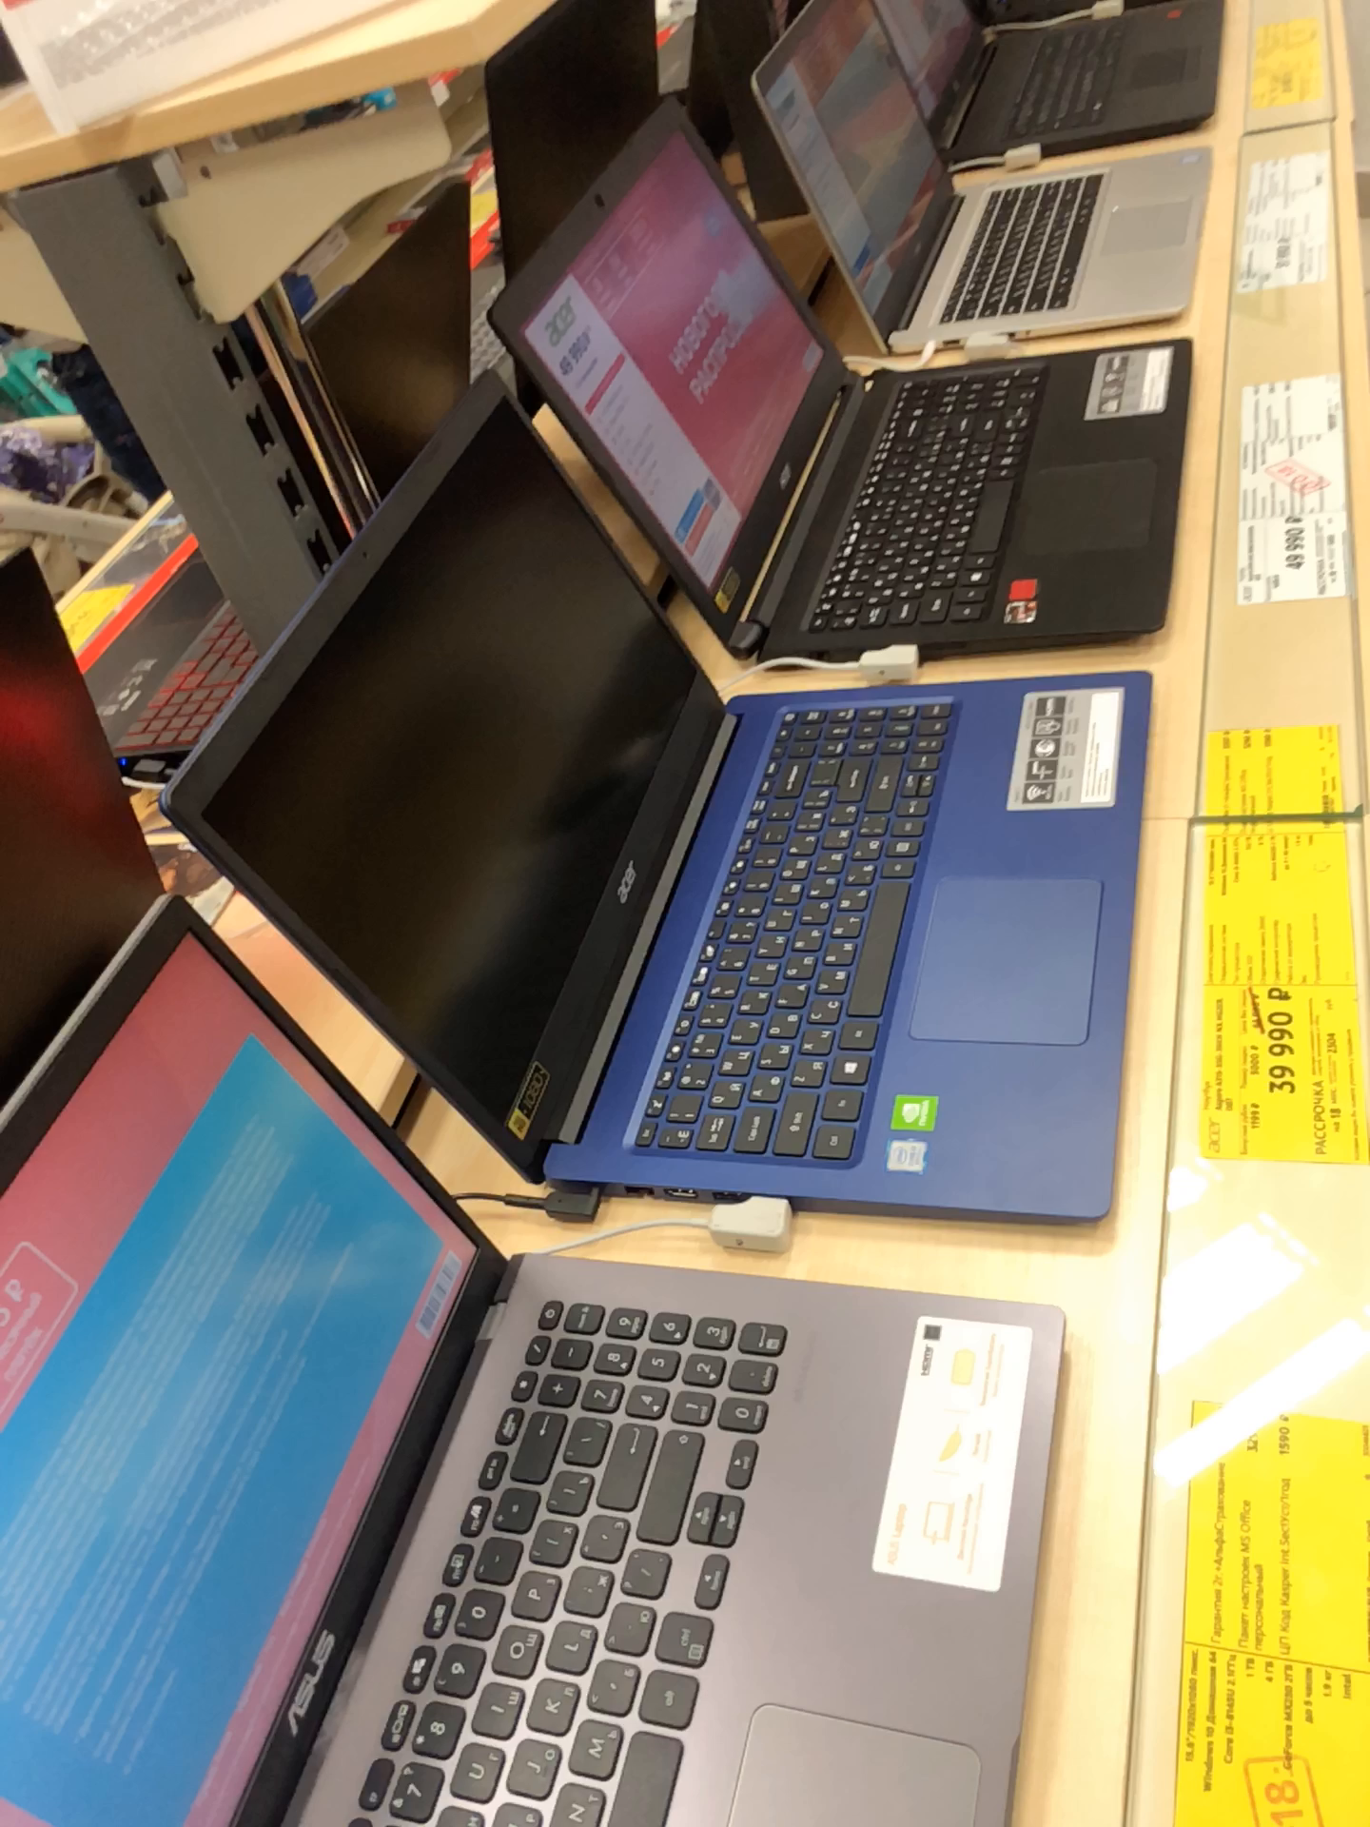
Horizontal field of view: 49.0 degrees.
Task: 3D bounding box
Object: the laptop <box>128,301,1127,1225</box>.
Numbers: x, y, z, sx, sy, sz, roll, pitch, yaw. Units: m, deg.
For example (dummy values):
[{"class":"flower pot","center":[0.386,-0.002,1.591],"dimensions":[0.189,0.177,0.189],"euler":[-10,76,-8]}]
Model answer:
[{"class":"laptop","center":[0.019,-0.084,0.700],"dimensions":[0.327,0.221,0.359],"euler":[0,43,20]}]
